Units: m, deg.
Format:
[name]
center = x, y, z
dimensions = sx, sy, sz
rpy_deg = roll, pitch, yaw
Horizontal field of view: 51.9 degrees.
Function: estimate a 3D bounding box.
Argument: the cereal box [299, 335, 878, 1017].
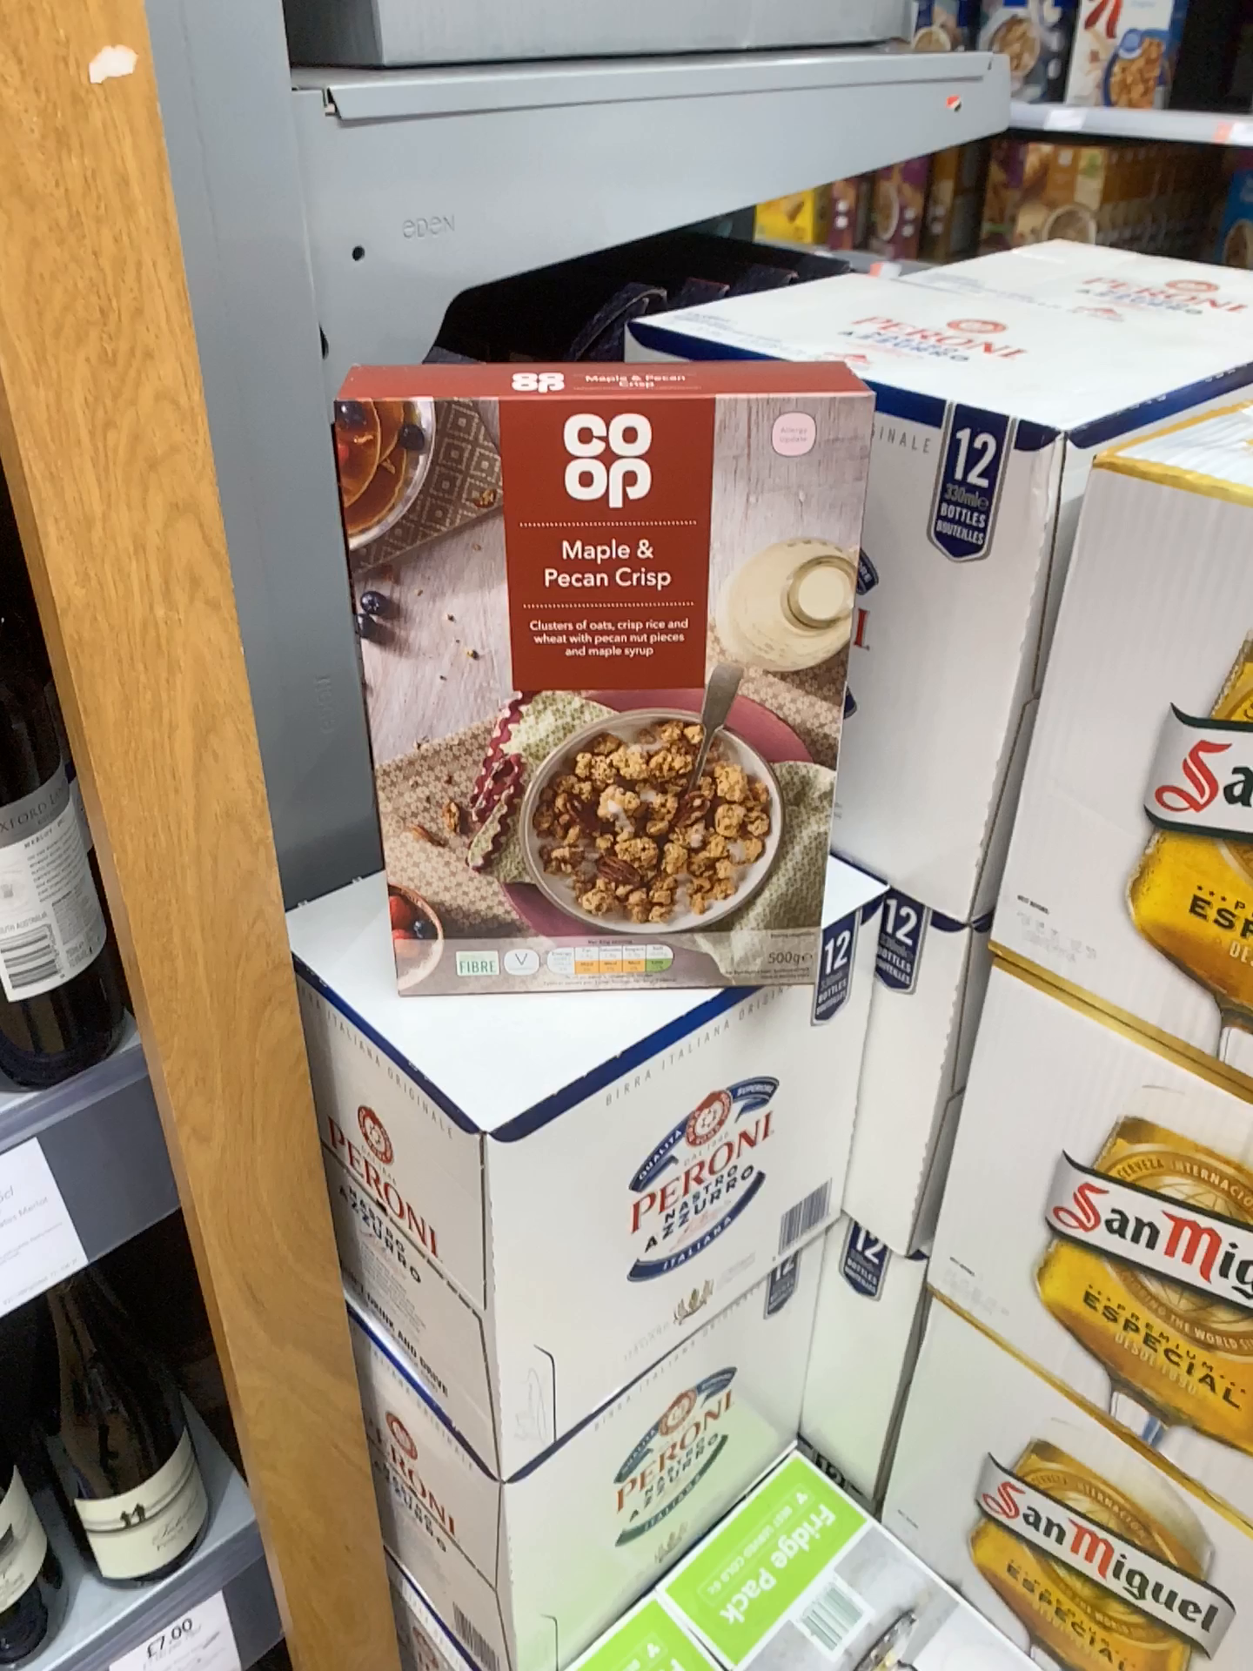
[cereal box]
center = -0.013, -0.052, 0.488
dimensions = 0.180, 0.248, 0.061
rpy_deg = -2, 31, -4
